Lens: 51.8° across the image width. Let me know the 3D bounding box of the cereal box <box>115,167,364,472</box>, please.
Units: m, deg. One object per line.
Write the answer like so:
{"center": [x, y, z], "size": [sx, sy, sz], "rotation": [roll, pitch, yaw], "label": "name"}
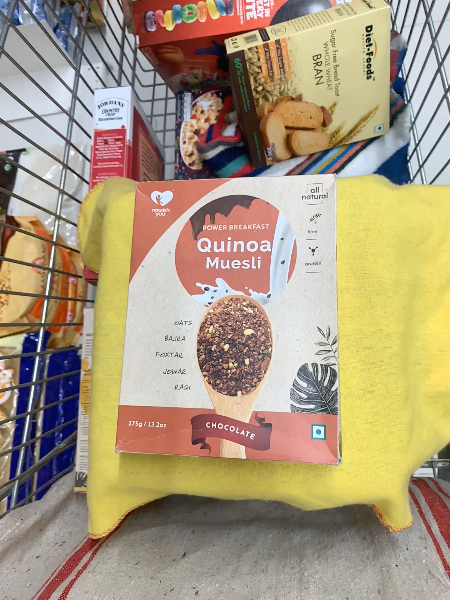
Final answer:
{"center": [0.015, 0.013, 0.361], "size": [0.170, 0.060, 0.210], "rotation": [0, 79, 11], "label": "cereal box"}
